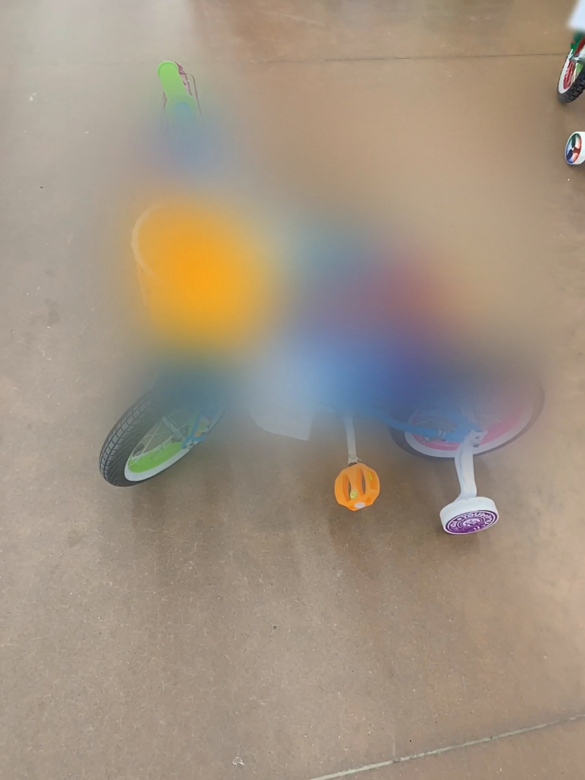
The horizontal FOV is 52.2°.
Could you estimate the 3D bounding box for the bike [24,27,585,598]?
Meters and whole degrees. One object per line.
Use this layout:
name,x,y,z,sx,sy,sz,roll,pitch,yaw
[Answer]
bike,0.082,-0.116,0.999,0.816,0.664,0.554,-7,51,-14
